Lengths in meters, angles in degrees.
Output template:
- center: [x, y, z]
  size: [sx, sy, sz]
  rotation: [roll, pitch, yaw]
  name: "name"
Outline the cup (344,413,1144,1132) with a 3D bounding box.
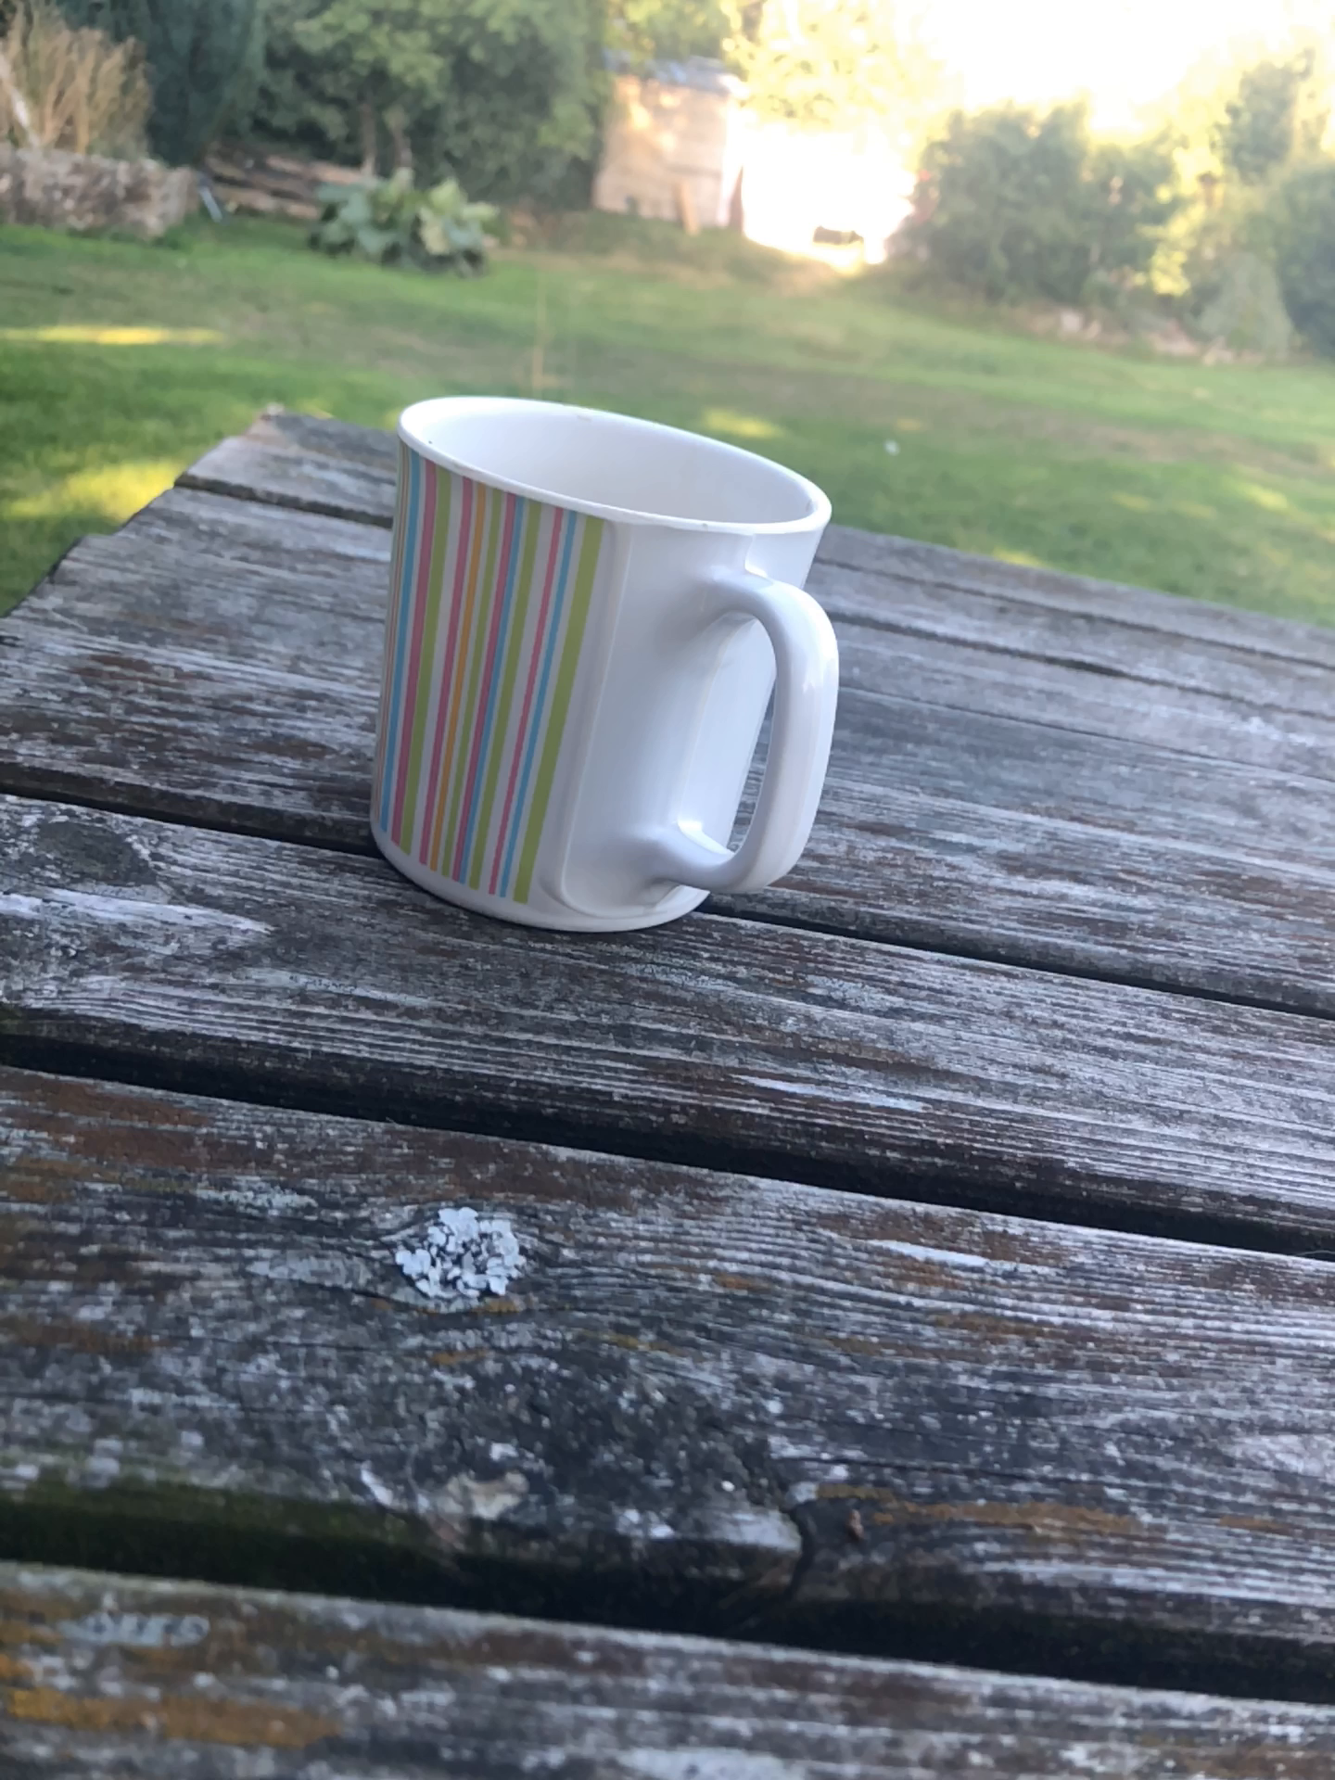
- center: [0.006, -0.037, 0.323]
  size: [0.099, 0.096, 0.134]
  rotation: [-12, 36, -35]
  name: "cup"
